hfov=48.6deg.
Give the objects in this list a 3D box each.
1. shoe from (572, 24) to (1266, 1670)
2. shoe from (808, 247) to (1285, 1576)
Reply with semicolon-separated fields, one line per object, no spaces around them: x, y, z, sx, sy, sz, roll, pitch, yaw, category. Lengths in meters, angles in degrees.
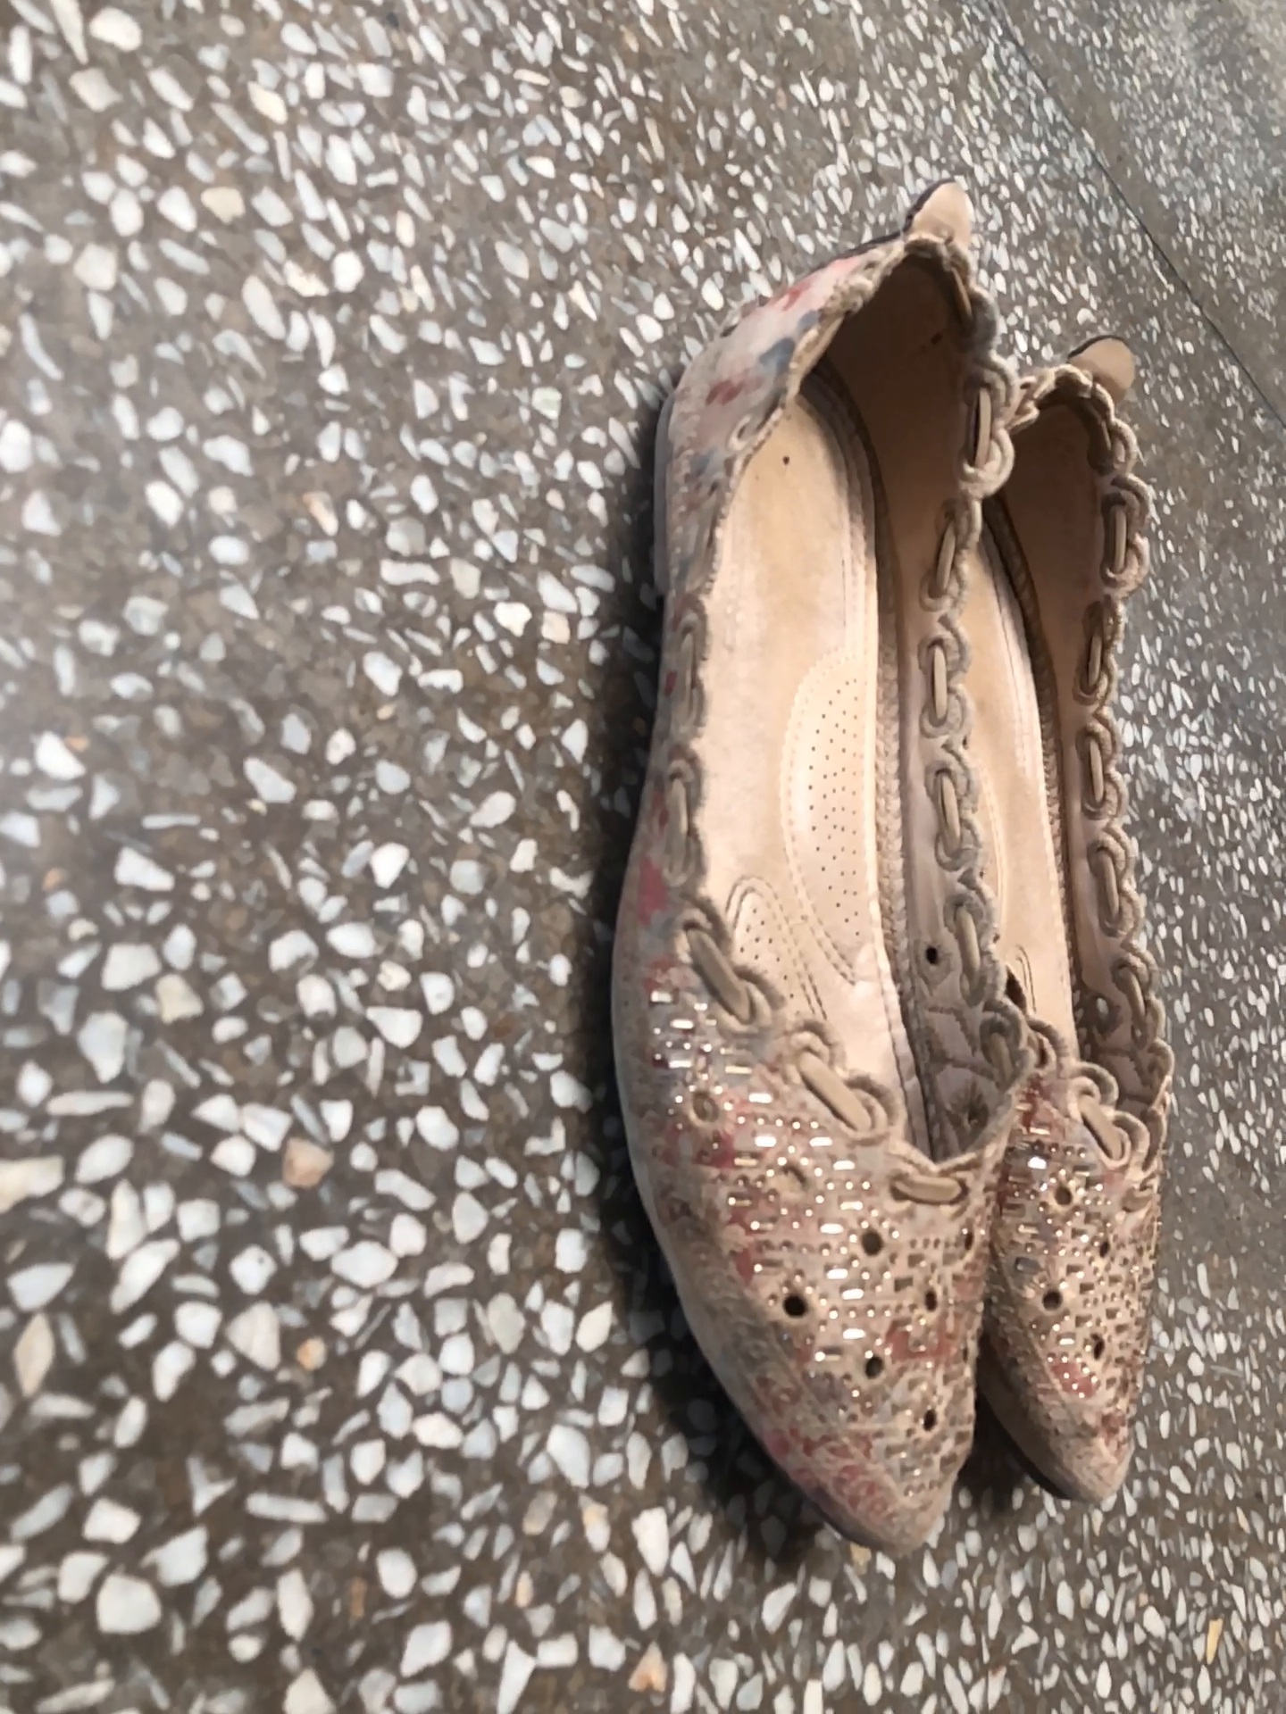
0.046;-0.006;0.266;0.090;0.068;0.254;14;68;-45;shoe
0.105;0.009;0.322;0.090;0.068;0.254;9;71;-46;shoe
